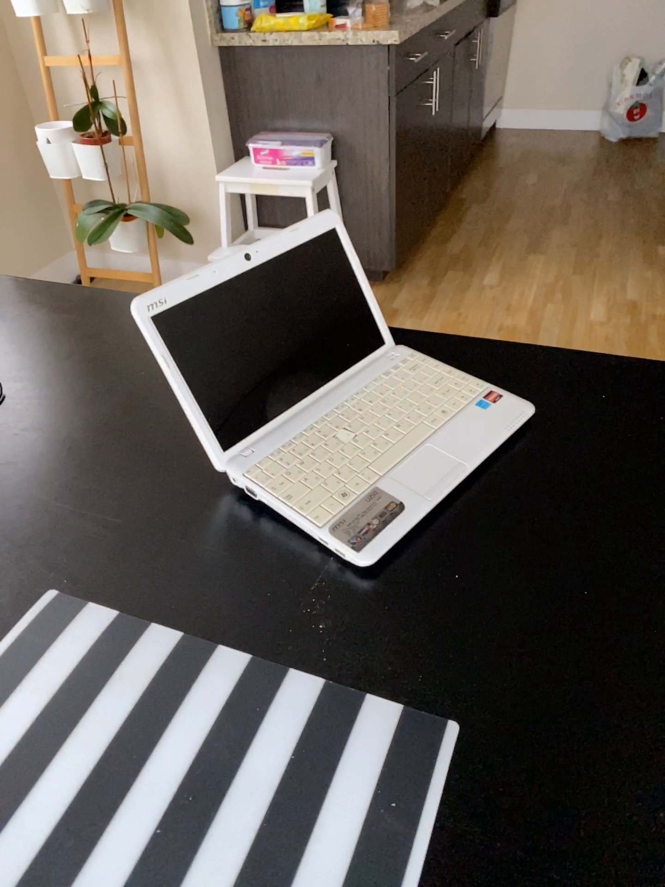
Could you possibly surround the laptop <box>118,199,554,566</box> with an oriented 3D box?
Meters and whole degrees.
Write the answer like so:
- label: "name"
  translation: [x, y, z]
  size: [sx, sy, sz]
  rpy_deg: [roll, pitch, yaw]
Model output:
- label: "laptop"
  translation: [0.010, -0.093, 0.700]
  size: [0.302, 0.153, 0.295]
  rpy_deg: [29, 49, 31]
